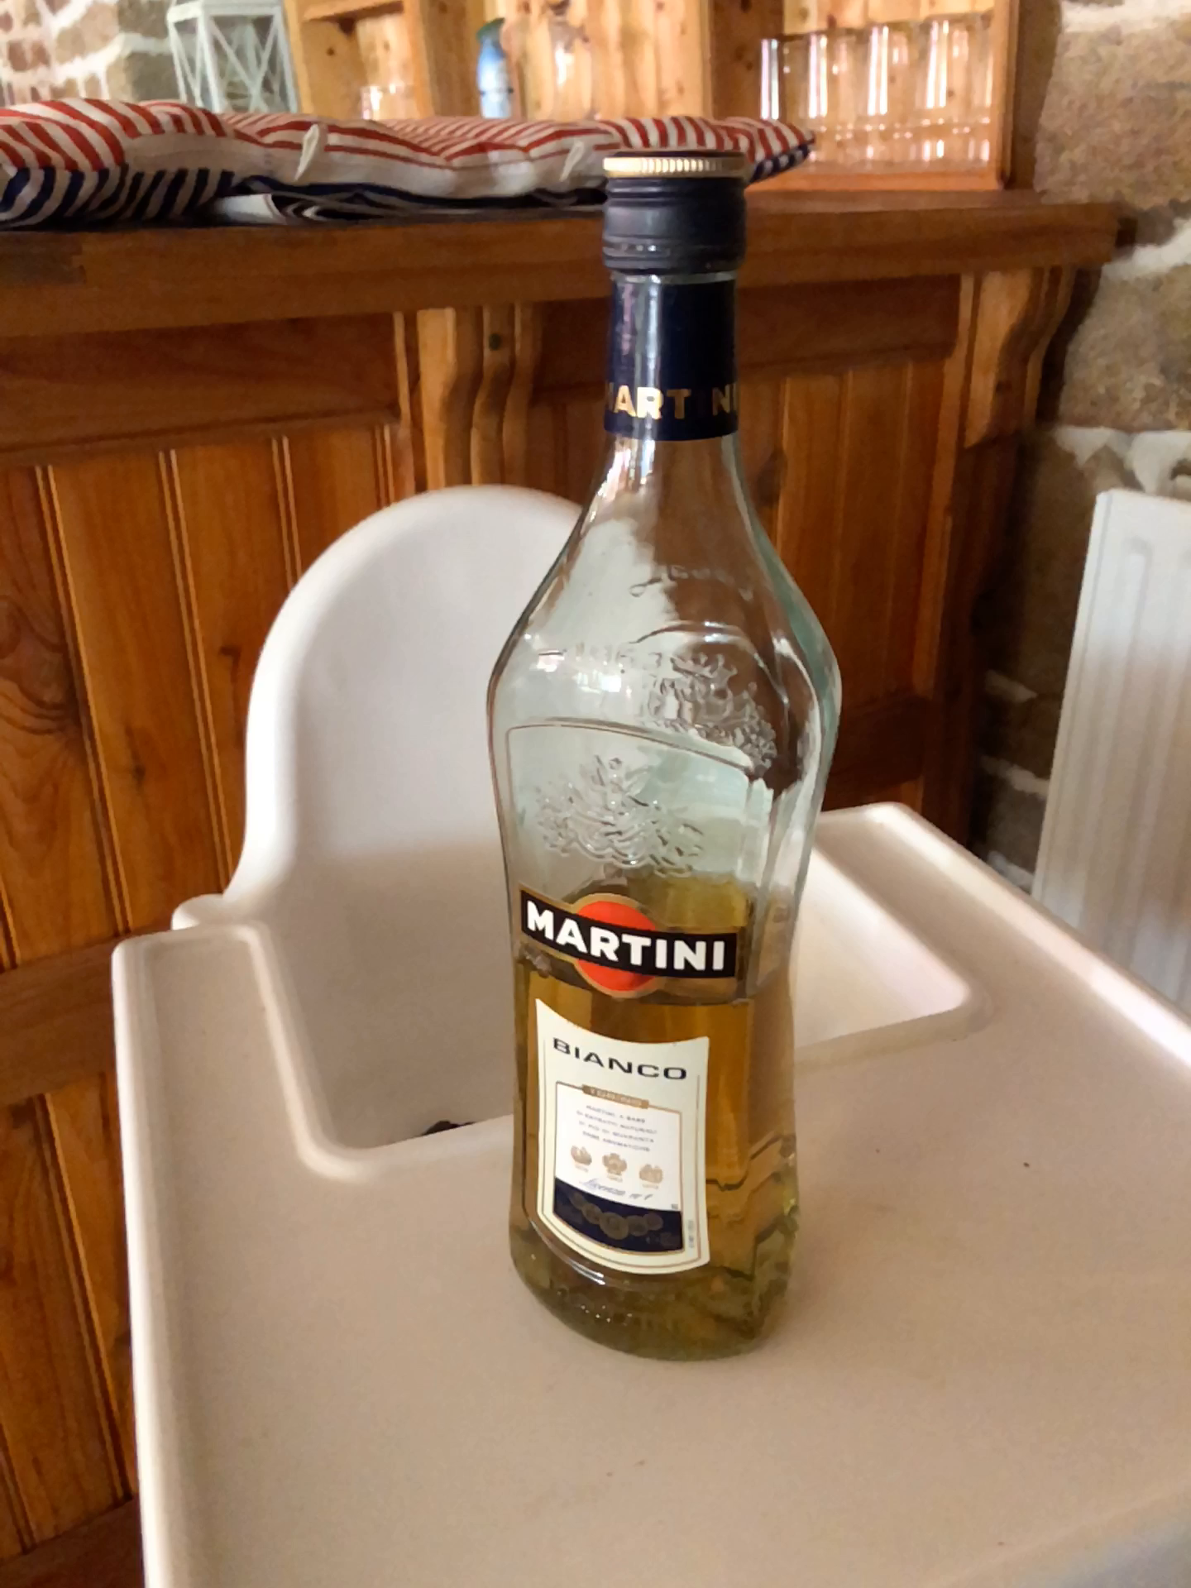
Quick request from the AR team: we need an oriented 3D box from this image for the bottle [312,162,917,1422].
[{"bbox_3d":[0.008,0.006,0.357,0.110,0.318,0.080,11,27,24],"label":"bottle"}]
